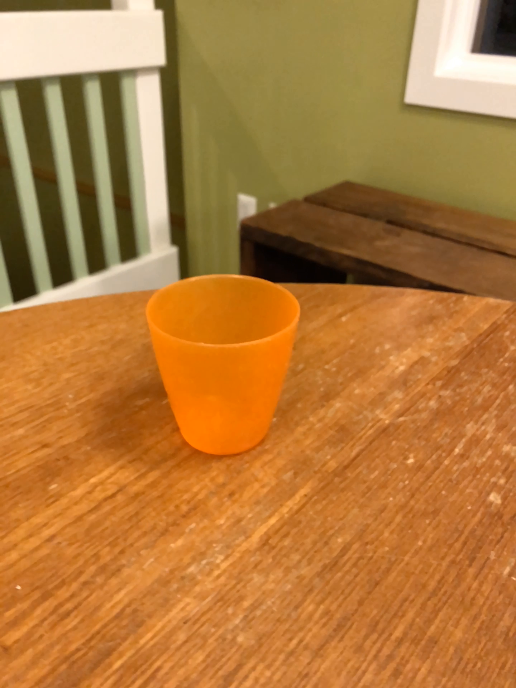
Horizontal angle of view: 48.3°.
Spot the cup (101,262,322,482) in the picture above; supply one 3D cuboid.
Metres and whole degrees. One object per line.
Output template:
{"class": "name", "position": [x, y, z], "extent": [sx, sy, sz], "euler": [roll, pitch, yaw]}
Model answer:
{"class": "cup", "position": [-0.022, 0.009, 0.305], "extent": [0.079, 0.066, 0.080], "euler": [1, 31, -1]}
